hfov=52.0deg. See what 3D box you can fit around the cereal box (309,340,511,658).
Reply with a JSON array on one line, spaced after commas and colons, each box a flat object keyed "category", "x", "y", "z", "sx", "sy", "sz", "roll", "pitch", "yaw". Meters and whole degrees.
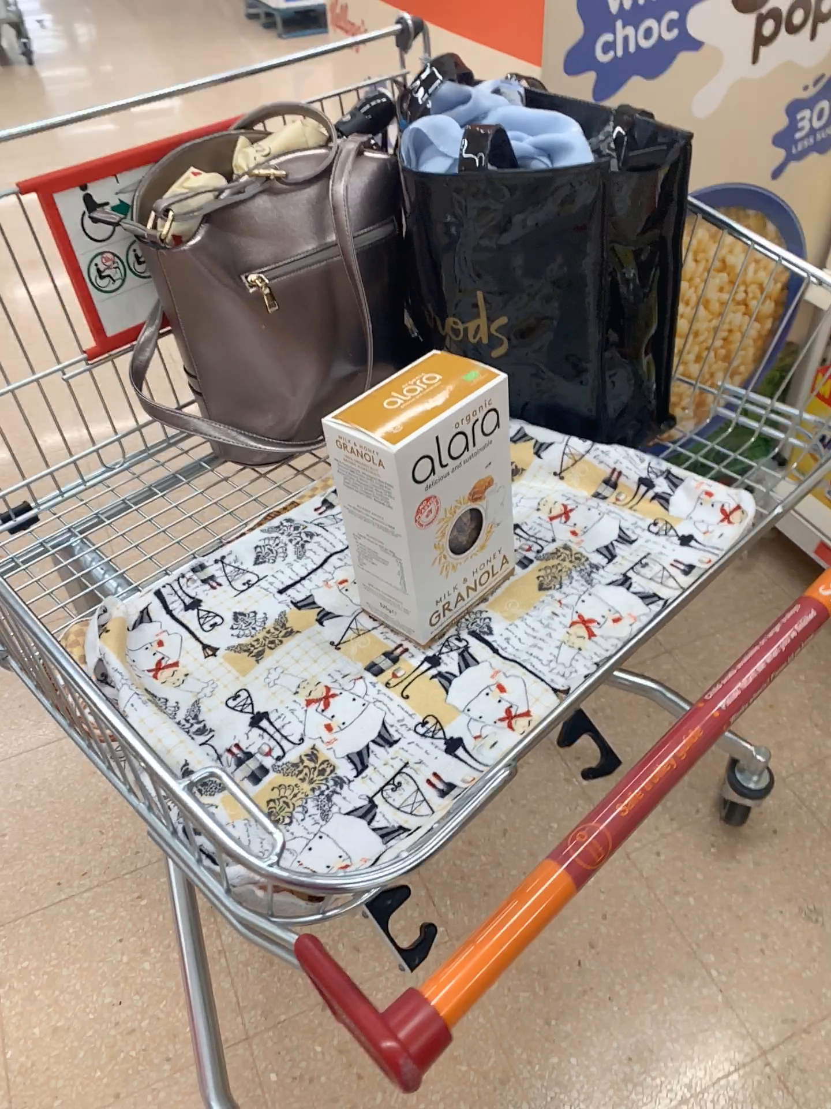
[{"category": "cereal box", "x": 0.004, "y": -0.042, "z": 0.661, "sx": 0.080, "sy": 0.198, "sz": 0.121, "roll": 27, "pitch": 50, "yaw": 34}]
